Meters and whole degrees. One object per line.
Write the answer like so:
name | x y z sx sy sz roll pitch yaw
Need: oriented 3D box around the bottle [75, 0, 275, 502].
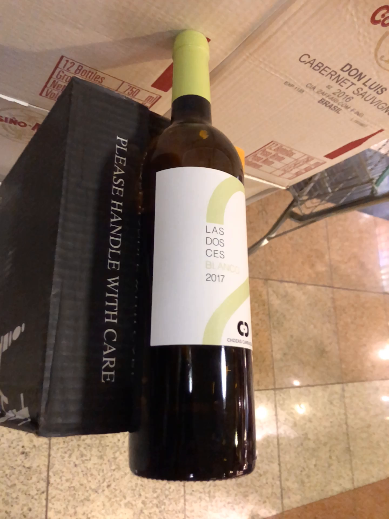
bottle | -0.008 -0.033 0.285 0.090 0.070 0.320 12 72 -34
